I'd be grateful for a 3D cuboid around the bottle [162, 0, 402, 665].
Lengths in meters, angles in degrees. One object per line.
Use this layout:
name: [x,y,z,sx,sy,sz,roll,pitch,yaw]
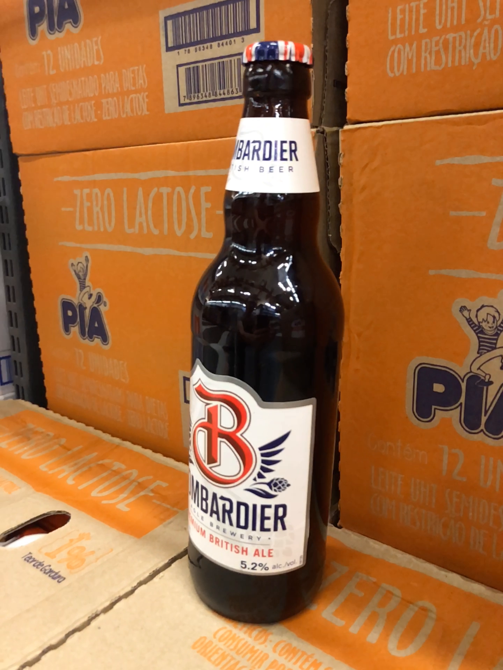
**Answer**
bottle: [0.010,0.000,0.246,0.070,0.259,0.060,13,18,39]
